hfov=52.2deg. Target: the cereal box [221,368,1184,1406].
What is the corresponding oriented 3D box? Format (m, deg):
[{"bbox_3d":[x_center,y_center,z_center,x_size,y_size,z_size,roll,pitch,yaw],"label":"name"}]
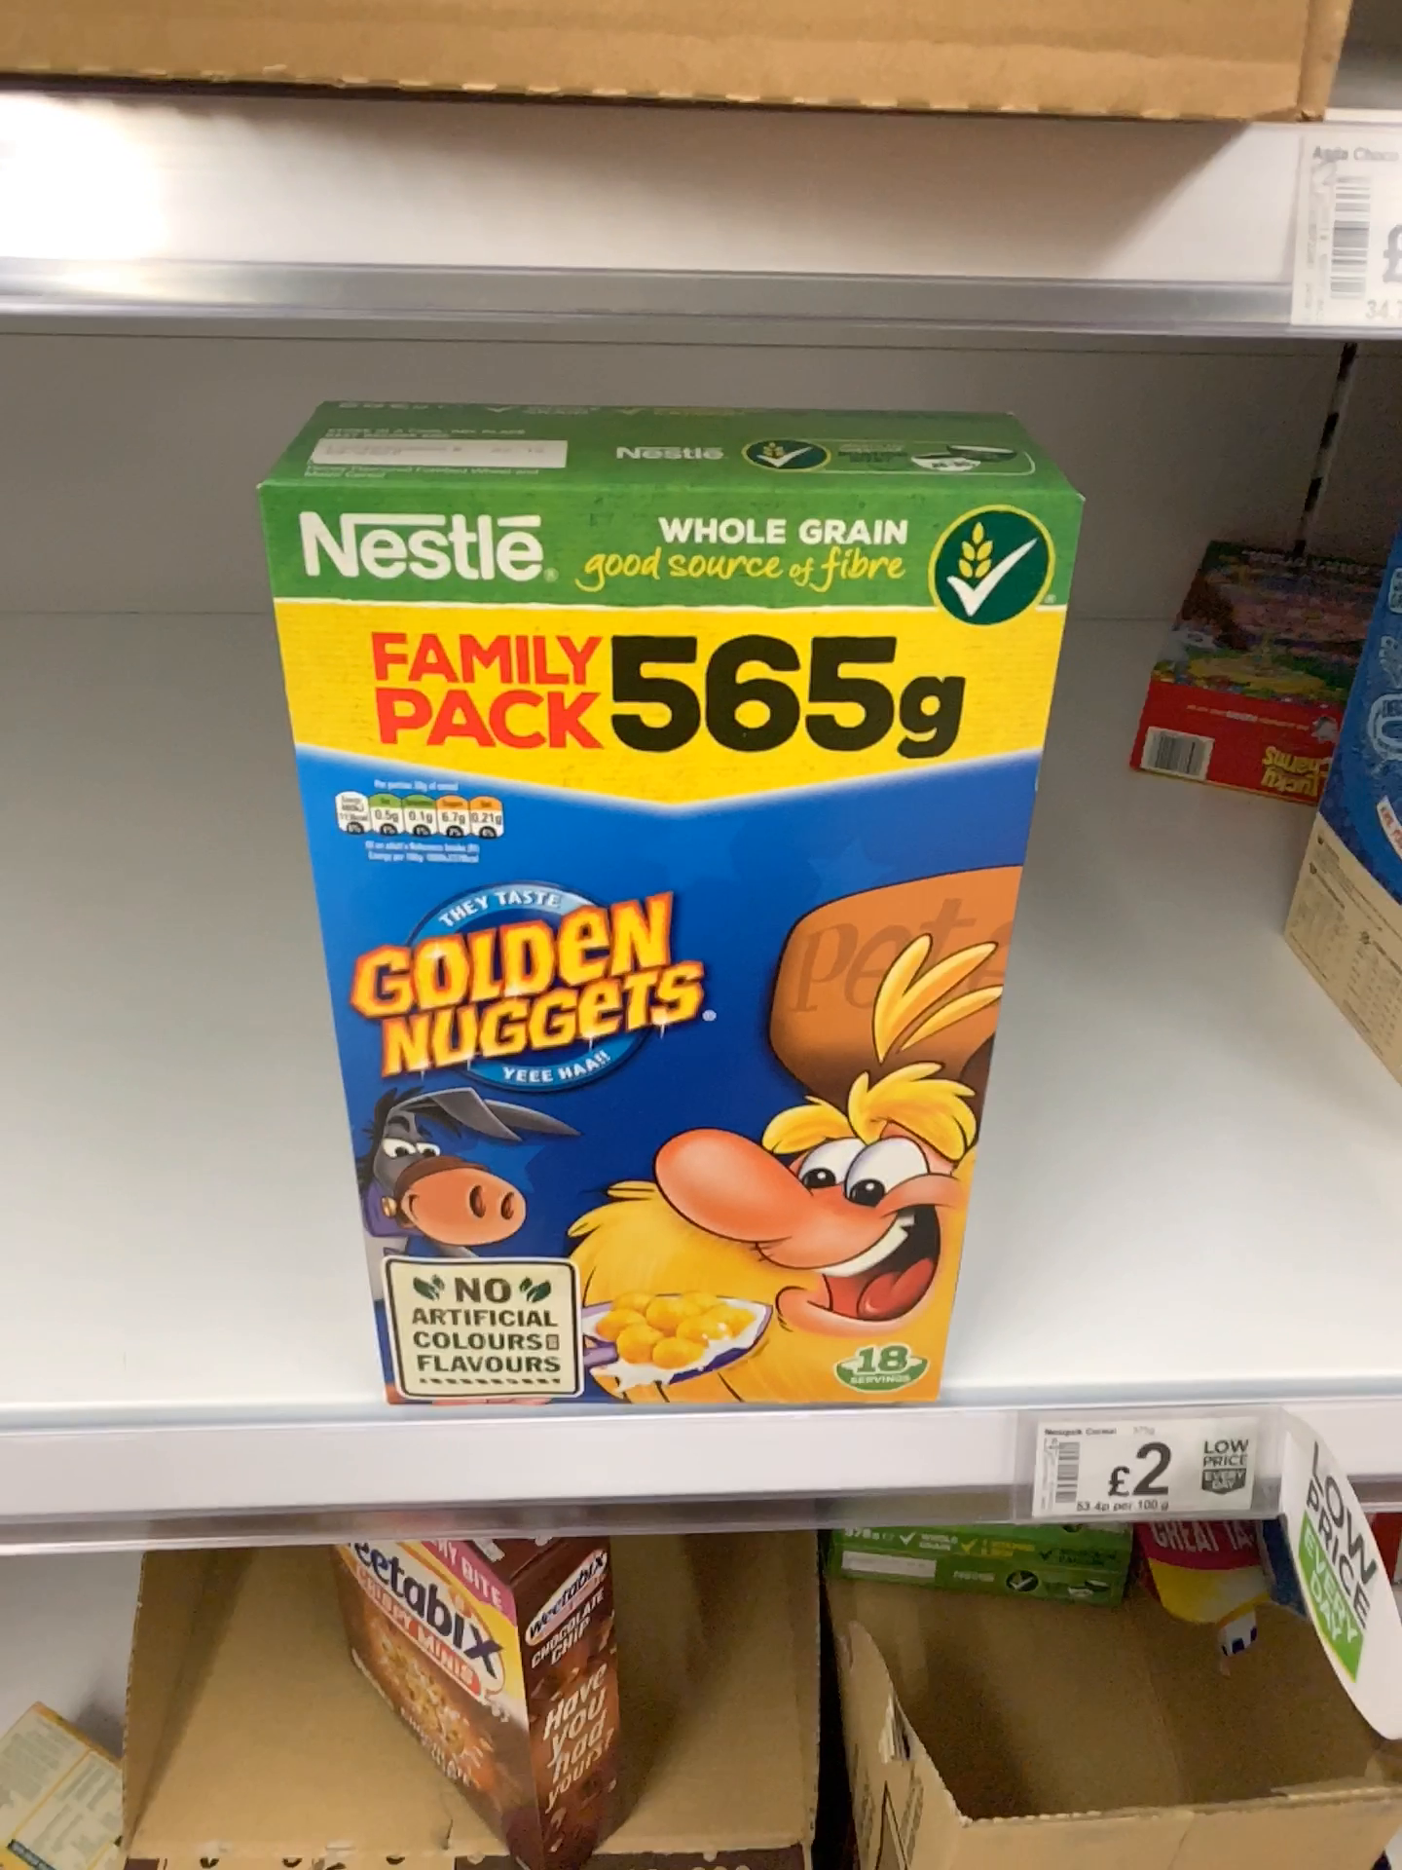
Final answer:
[{"bbox_3d":[-0.004,0.003,0.433,0.210,0.307,0.091,0,33,-2],"label":"cereal box"}]
